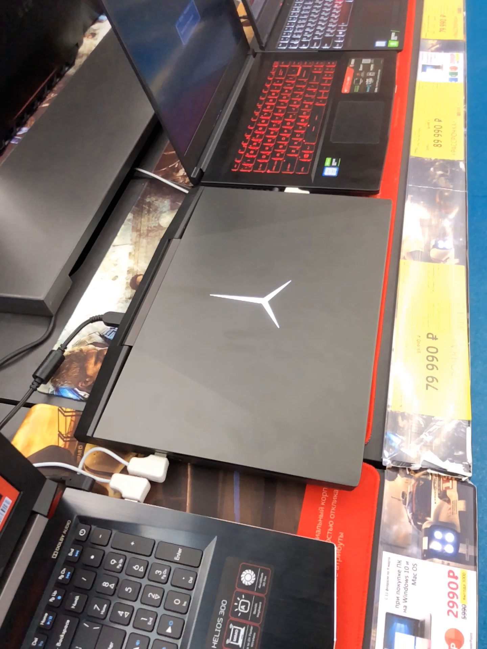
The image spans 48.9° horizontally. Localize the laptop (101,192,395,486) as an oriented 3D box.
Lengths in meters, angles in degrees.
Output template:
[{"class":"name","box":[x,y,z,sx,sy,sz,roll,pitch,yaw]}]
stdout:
[{"class":"laptop","box":[0.024,-0.019,0.558,0.227,0.007,0.345,7,54,15]}]
